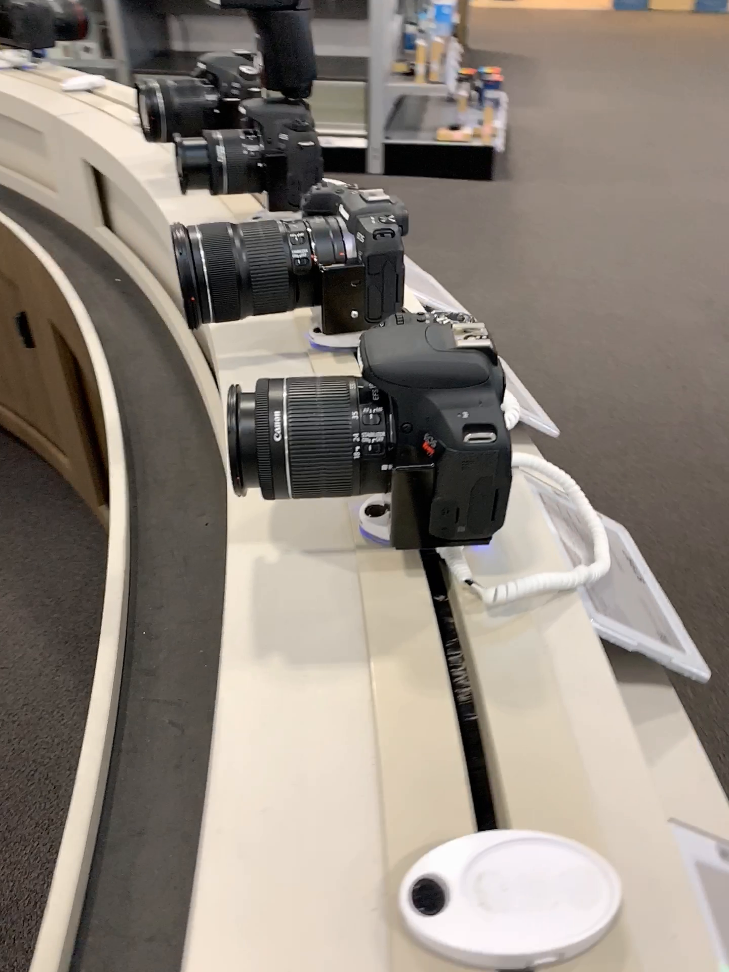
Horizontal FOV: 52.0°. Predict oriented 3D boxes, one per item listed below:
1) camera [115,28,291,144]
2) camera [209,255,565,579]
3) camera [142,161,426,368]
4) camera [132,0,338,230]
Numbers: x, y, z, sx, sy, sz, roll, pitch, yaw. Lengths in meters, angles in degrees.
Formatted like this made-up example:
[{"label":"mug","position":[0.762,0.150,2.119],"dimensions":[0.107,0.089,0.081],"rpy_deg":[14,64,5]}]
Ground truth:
[{"label":"camera","position":[-0.214,-0.538,0.998],"dimensions":[0.190,0.099,0.141],"rpy_deg":[-15,42,-18]},{"label":"camera","position":[0.003,-0.048,0.449],"dimensions":[0.170,0.119,0.151],"rpy_deg":[-4,39,-5]},{"label":"camera","position":[-0.070,-0.192,0.627],"dimensions":[0.200,0.099,0.141],"rpy_deg":[-11,41,-13]},{"label":"camera","position":[-0.133,-0.415,0.792],"dimensions":[0.170,0.219,0.151],"rpy_deg":[-11,41,-14]}]
